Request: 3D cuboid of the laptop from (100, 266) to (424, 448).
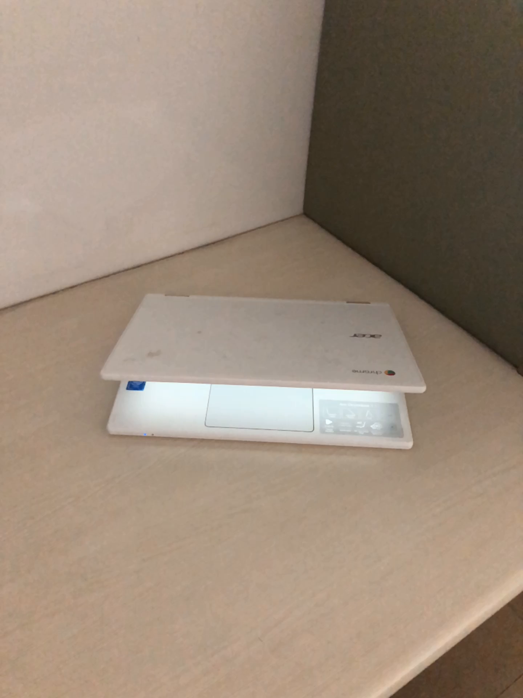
[{"bbox_3d":[0.004,-0.001,0.589,0.282,0.055,0.193,3,42,1],"label":"laptop"}]
